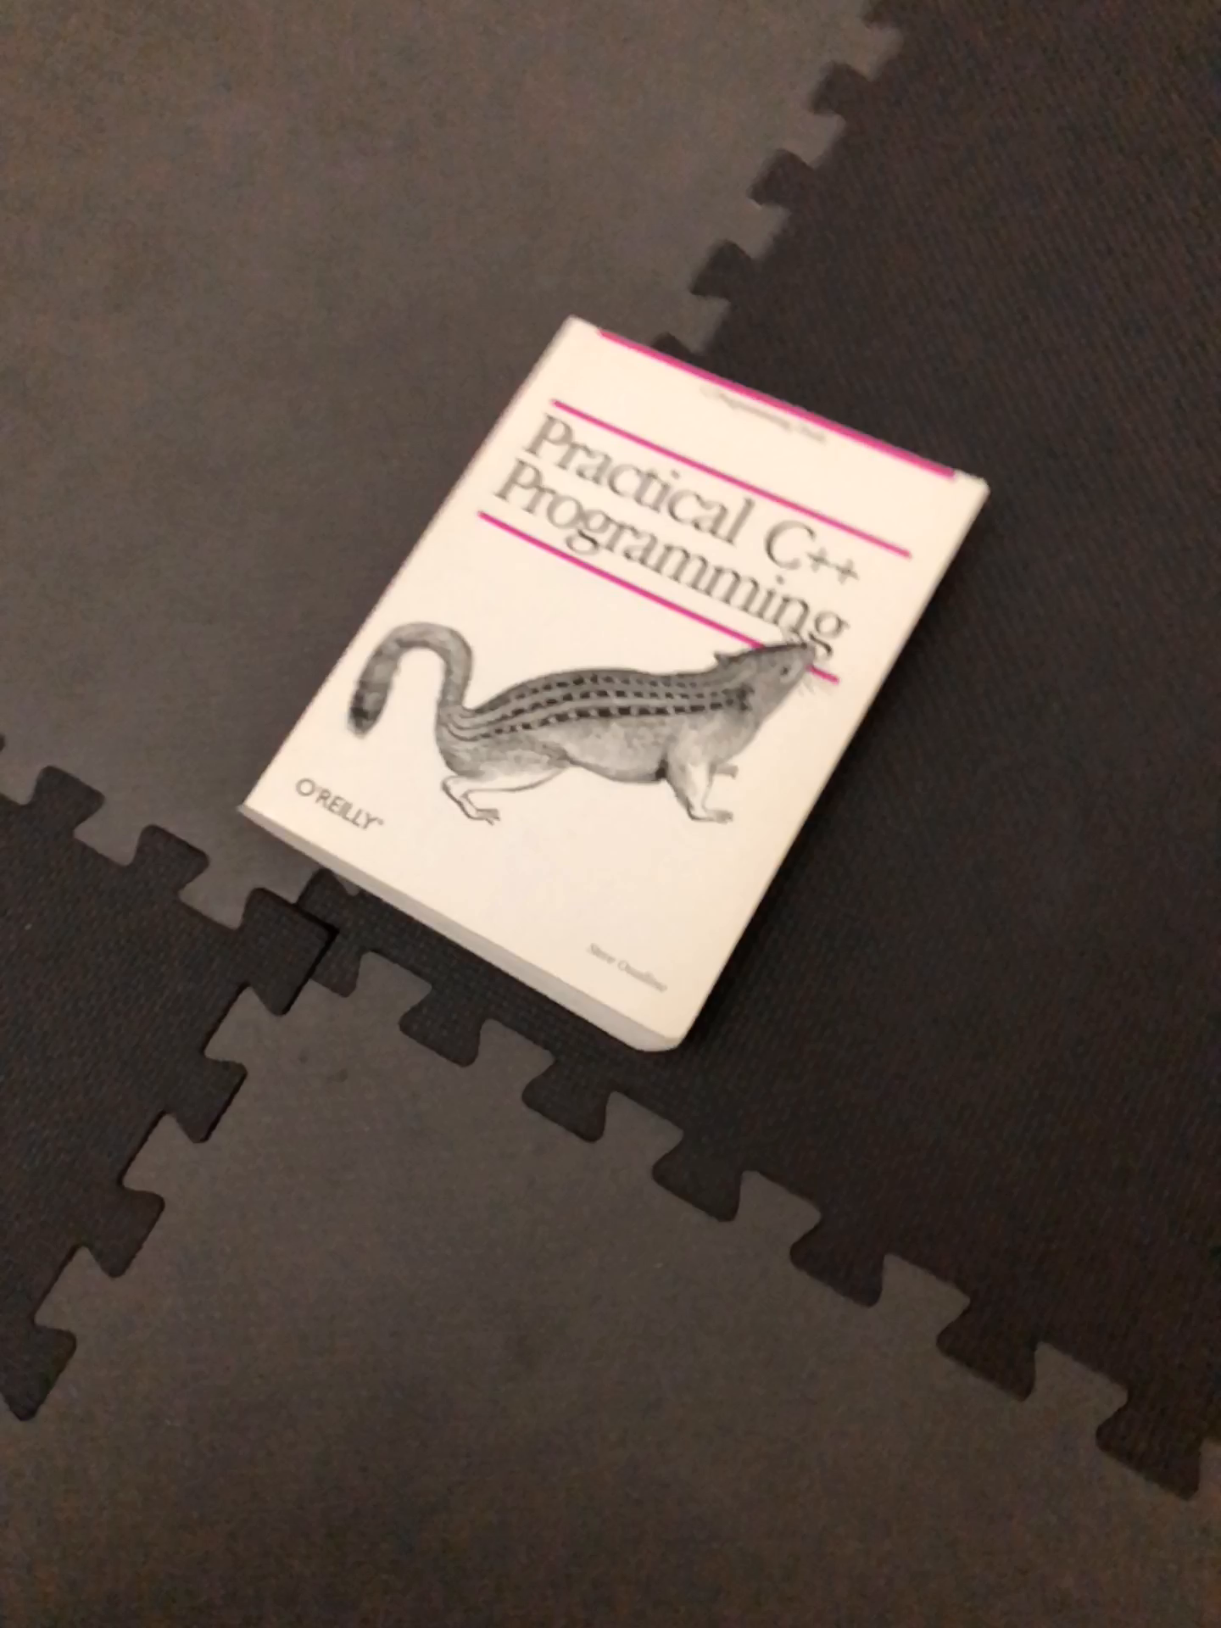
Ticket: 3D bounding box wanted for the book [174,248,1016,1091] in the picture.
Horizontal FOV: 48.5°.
[{"bbox_3d":[-0.002,-0.060,0.504,0.200,0.050,0.250,29,77,10],"label":"book"}]
